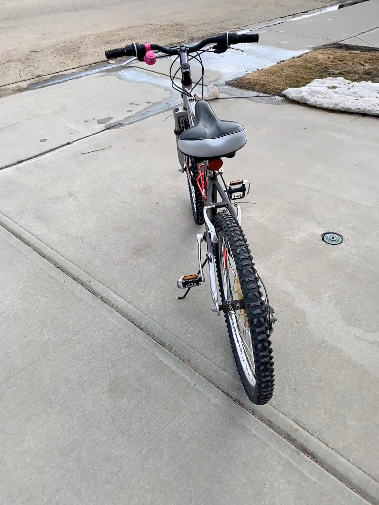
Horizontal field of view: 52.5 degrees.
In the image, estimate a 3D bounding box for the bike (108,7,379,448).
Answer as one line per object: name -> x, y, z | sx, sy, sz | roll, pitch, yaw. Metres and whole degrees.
bike -> 0.041, -0.272, 1.446 | 0.538, 0.825, 1.508 | -4, 43, -6
